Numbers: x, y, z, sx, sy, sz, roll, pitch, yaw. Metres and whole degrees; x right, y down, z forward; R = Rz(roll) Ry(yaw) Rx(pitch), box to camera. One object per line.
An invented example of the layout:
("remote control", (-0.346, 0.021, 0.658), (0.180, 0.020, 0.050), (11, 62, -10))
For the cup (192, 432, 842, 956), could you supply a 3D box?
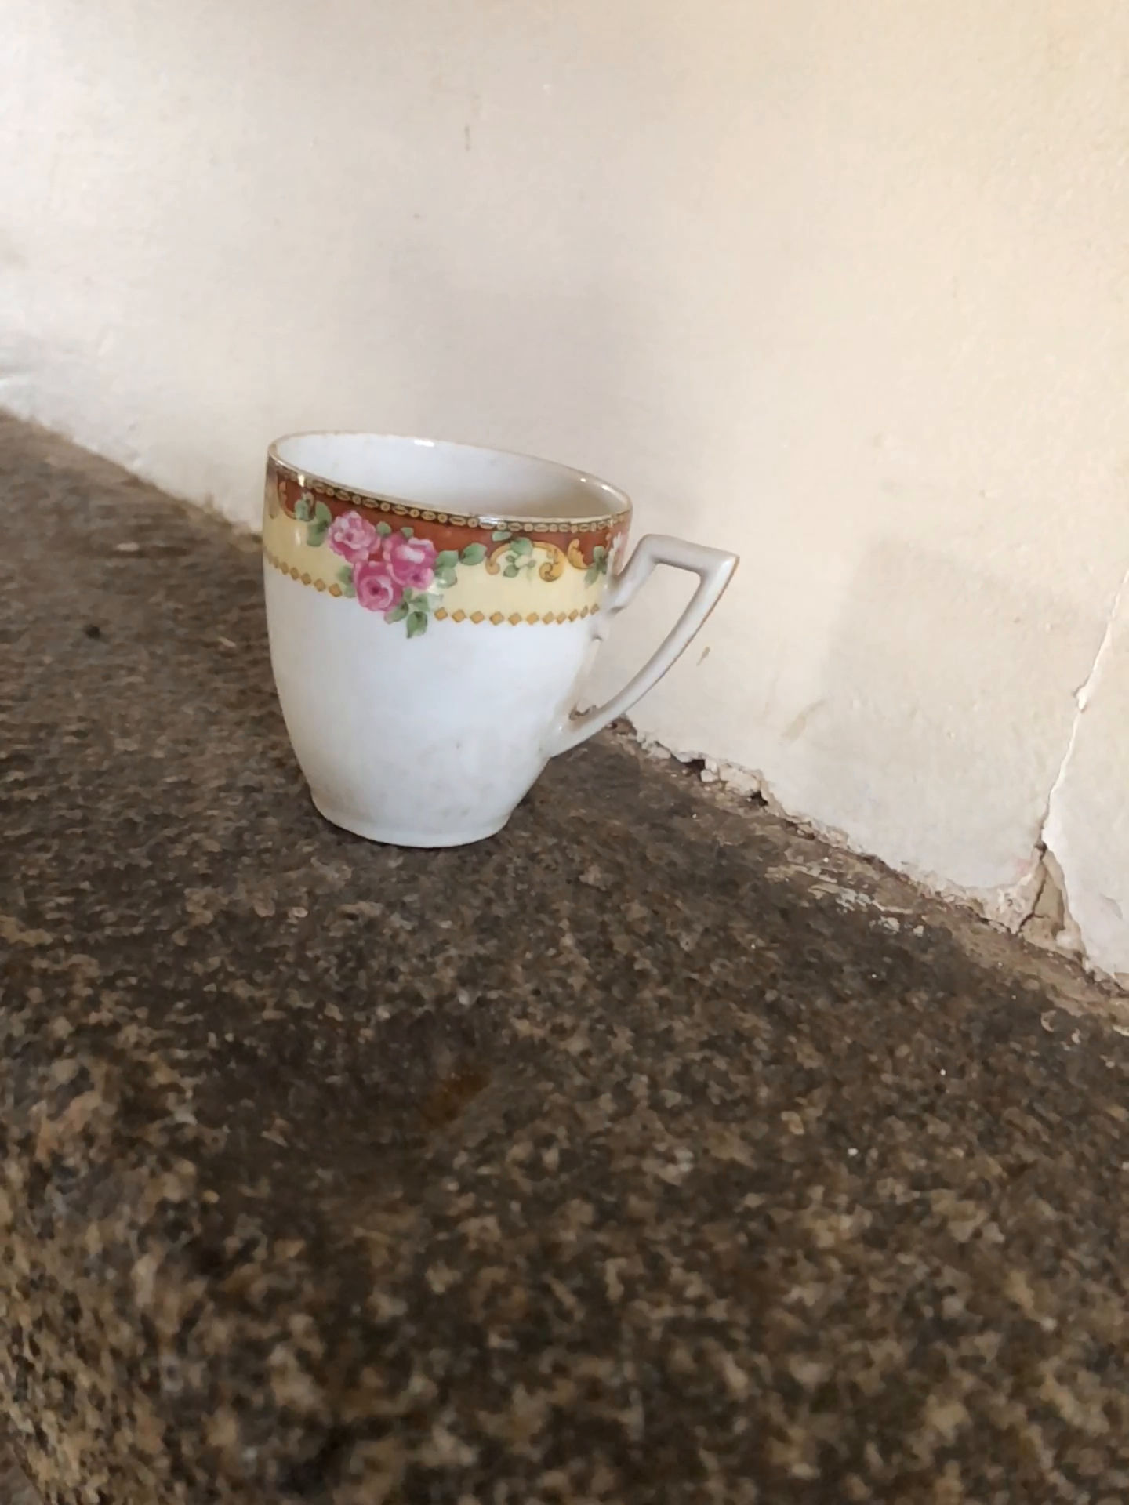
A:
("cup", (-0.010, -0.019, 0.233), (0.090, 0.060, 0.070), (20, 25, 27))
